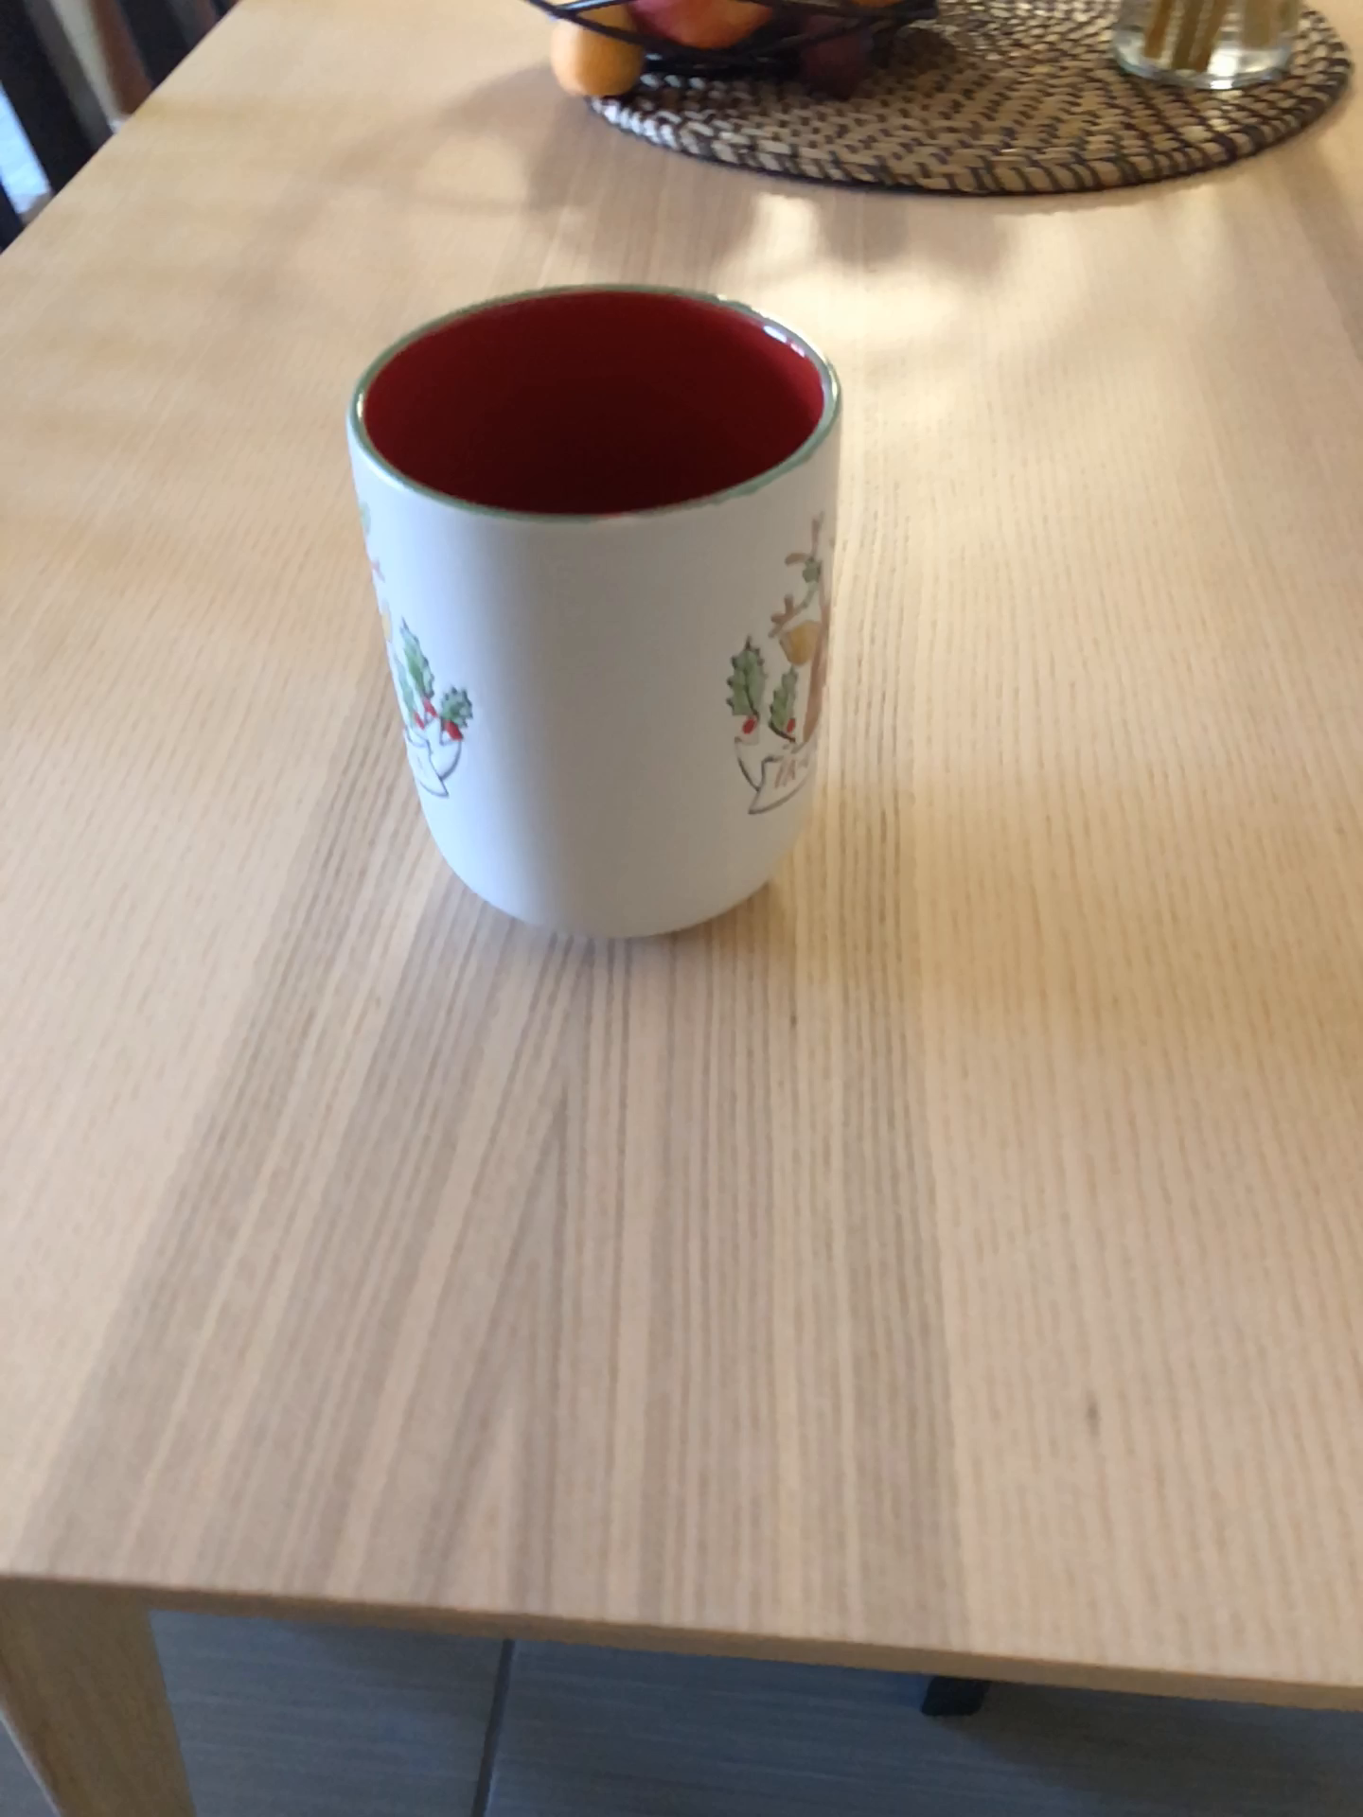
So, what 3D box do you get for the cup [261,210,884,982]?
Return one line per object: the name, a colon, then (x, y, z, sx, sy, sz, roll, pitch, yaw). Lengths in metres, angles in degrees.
cup: (-0.018, -0.071, 0.327, 0.100, 0.100, 0.141, -2, 46, 0)
